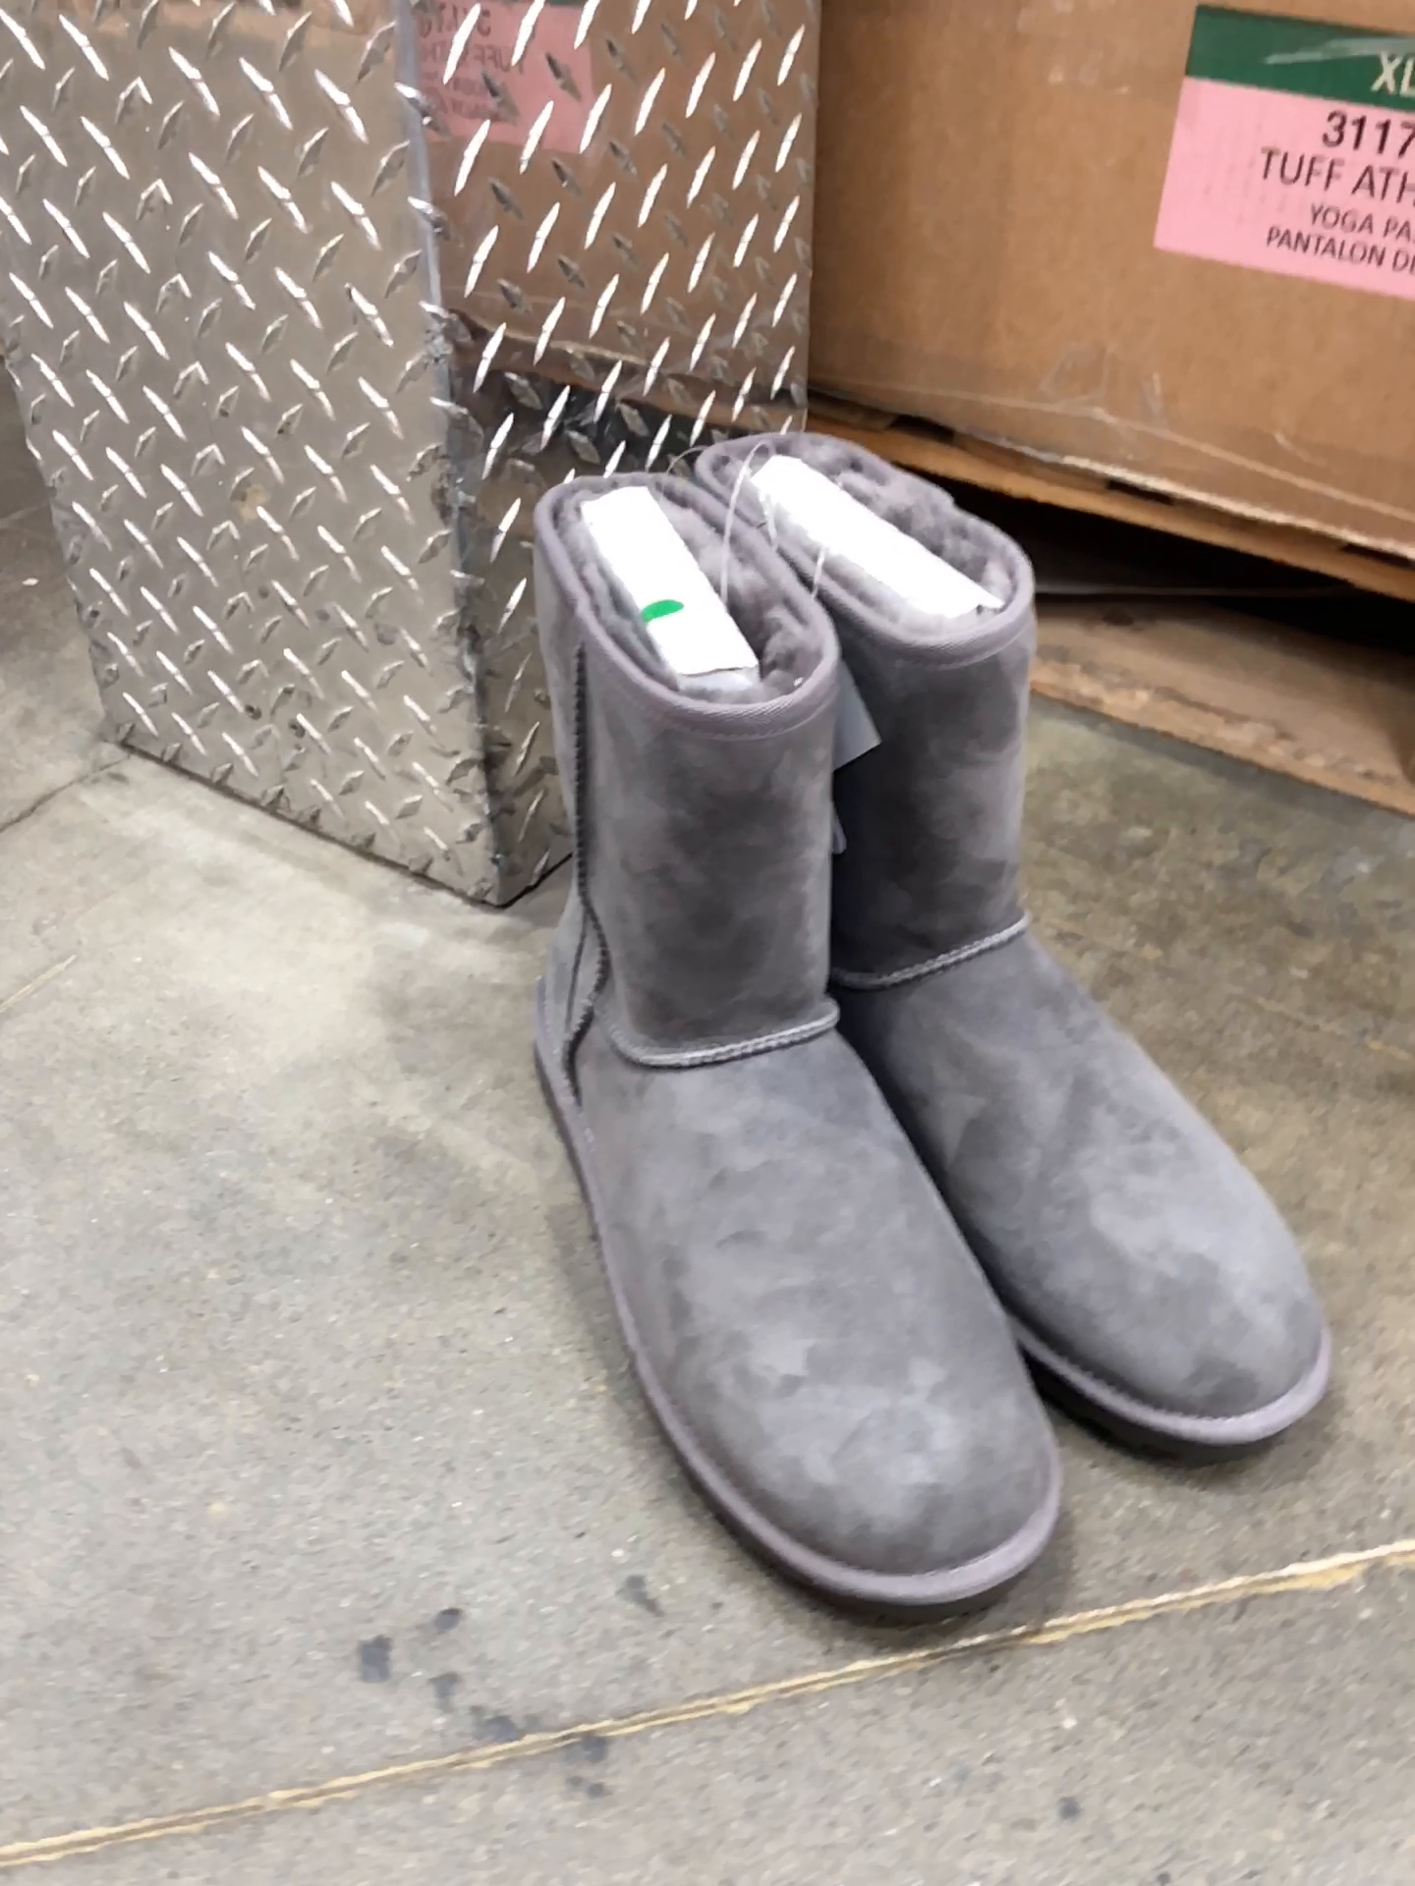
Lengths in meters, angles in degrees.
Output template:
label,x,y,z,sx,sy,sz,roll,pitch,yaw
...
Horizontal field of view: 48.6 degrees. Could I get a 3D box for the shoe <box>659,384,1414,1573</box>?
label,x,y,z,sx,sy,sz,roll,pitch,yaw
shoe,0.104,-0.003,0.487,0.110,0.239,0.271,-22,44,-24

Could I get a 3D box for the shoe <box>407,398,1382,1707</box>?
label,x,y,z,sx,sy,sz,roll,pitch,yaw
shoe,0.020,0.014,0.460,0.120,0.239,0.281,-15,41,-18
